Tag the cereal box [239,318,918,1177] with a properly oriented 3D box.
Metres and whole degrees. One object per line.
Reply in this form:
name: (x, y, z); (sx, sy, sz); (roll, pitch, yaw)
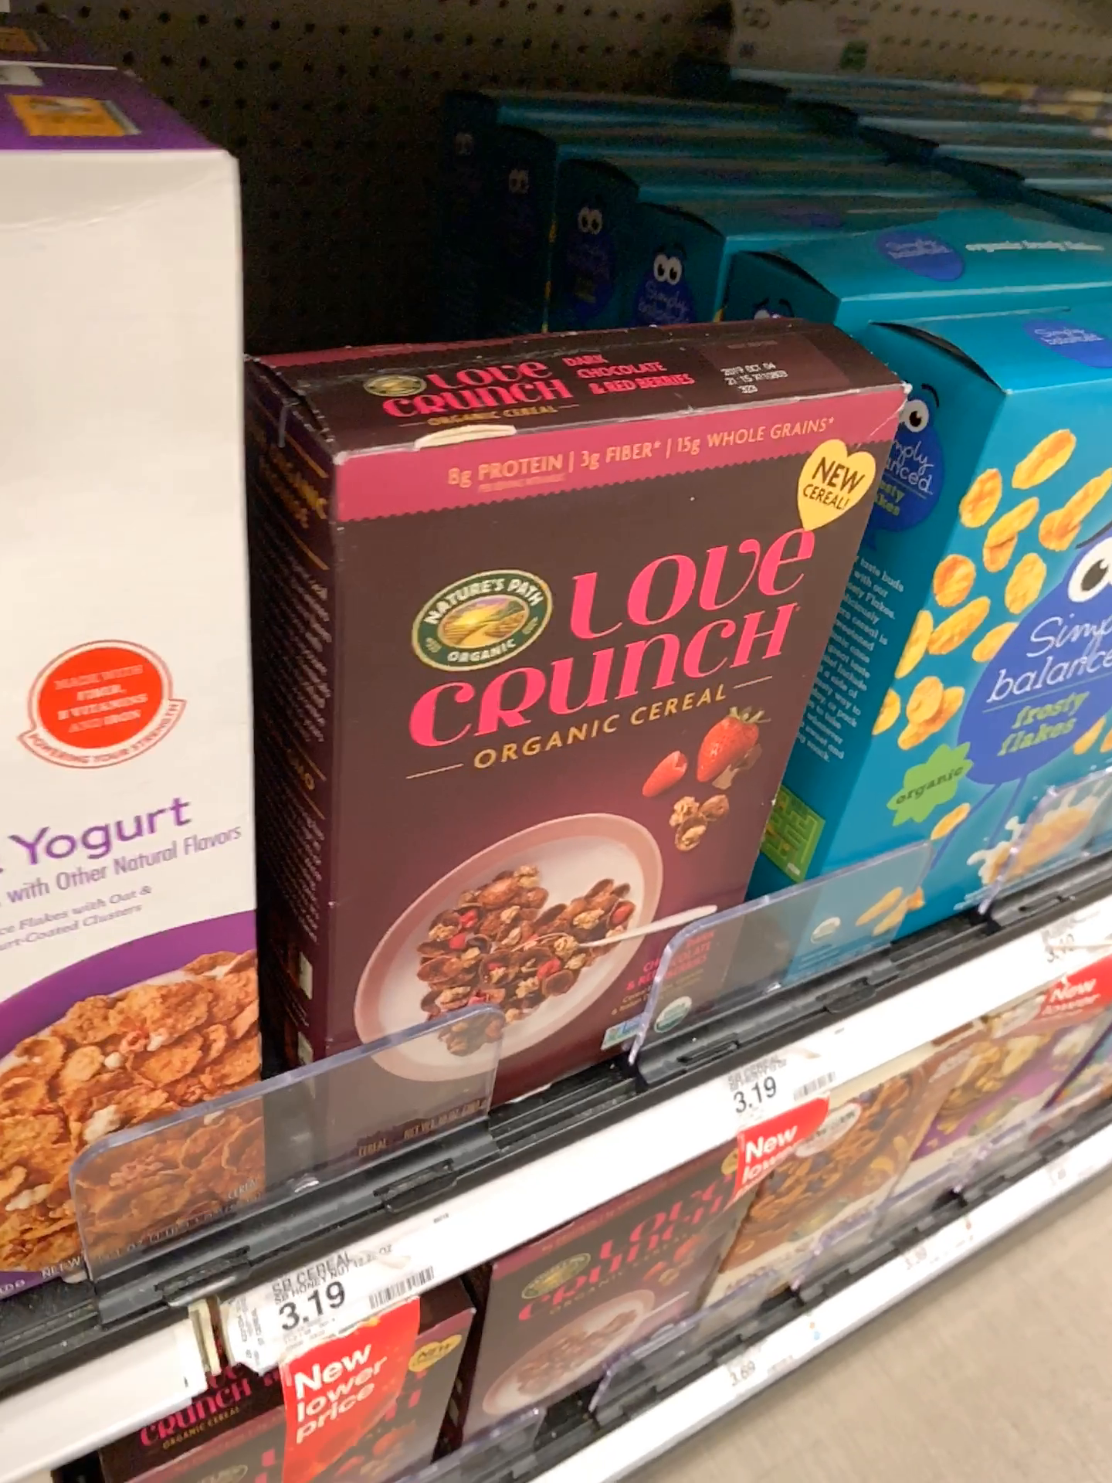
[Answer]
cereal box: (-0.005, 0.010, 0.348); (0.160, 0.249, 0.050); (-15, 44, -29)
